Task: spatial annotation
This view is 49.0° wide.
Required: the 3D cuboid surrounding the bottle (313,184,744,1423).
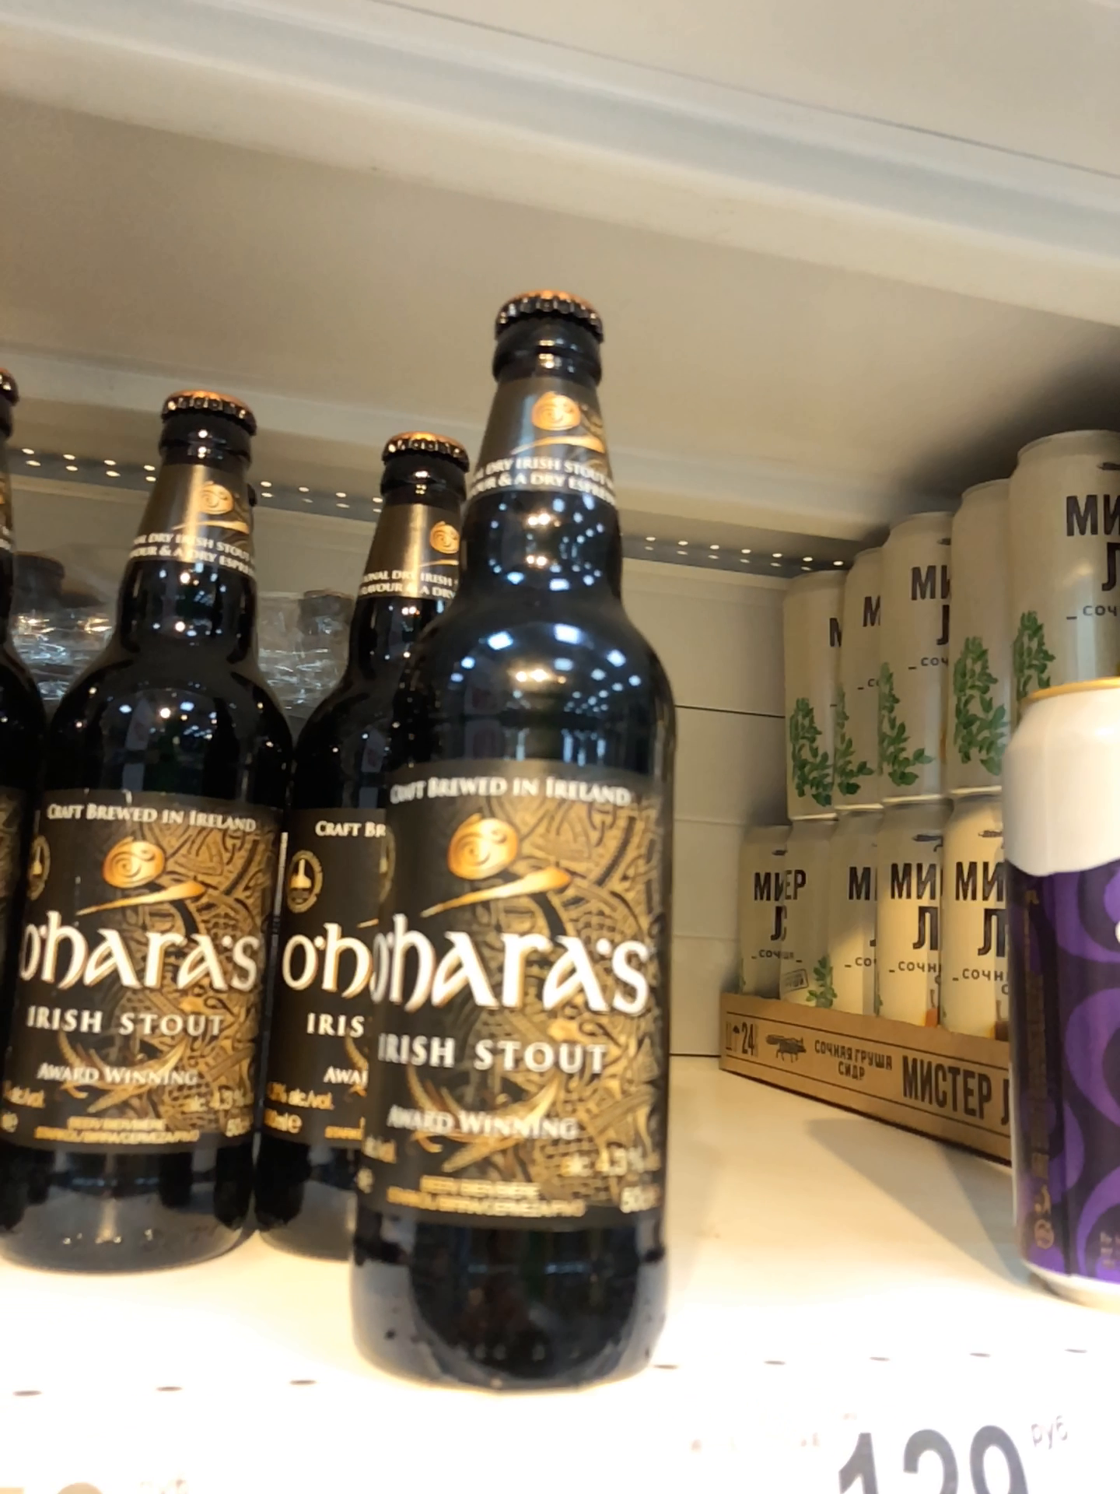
[{"bbox_3d":[0.001,0.006,0.277,0.070,0.241,0.070,3,-9,1],"label":"bottle"}]
